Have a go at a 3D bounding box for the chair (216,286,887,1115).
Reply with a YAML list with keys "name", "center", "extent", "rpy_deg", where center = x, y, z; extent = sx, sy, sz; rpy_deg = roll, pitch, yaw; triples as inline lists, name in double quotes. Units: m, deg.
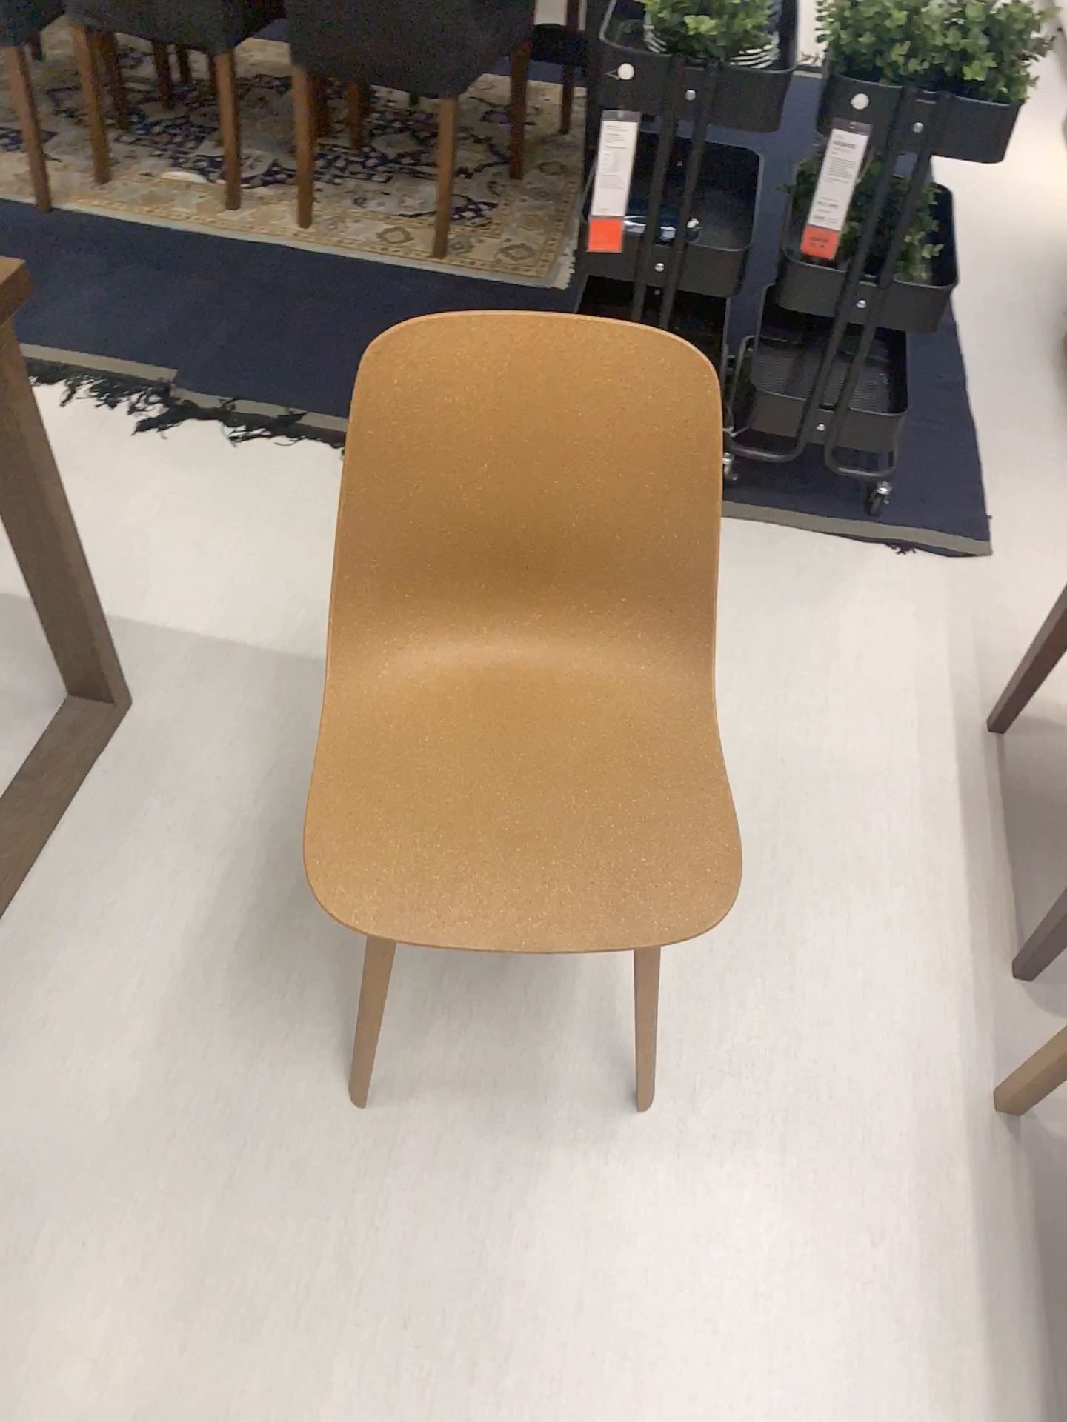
- name: "chair"
  center: [-0.013, 0.034, 1.152]
  extent: [0.440, 0.718, 0.521]
  rpy_deg: [2, 49, -4]
